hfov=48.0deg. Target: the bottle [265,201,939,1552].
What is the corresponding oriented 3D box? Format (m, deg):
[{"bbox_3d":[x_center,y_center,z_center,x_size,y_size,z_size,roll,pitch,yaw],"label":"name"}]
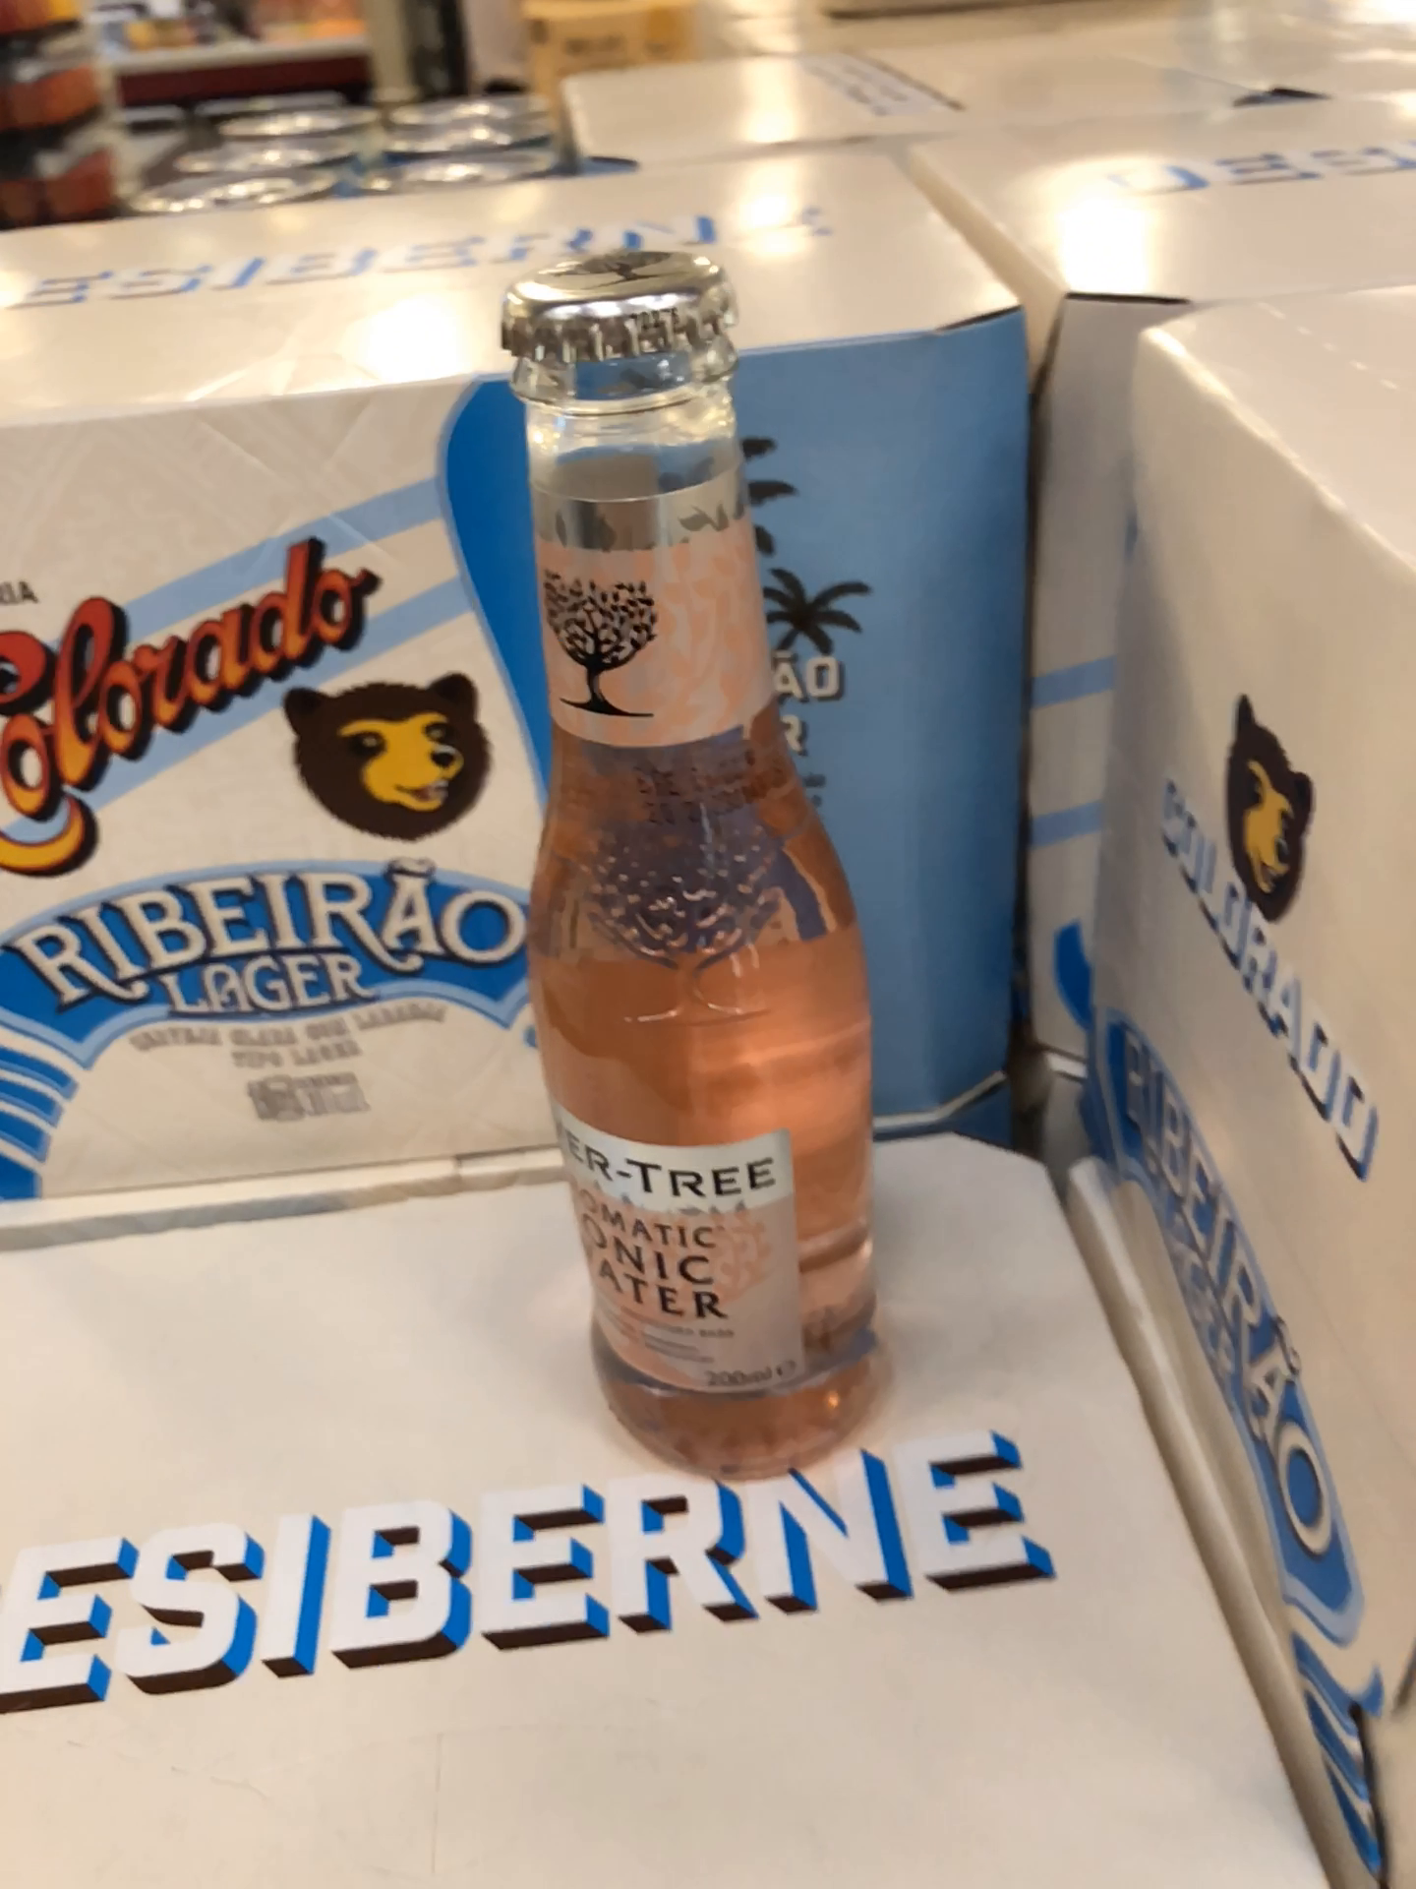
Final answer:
[{"bbox_3d":[-0.006,-0.002,0.236,0.060,0.188,0.050,20,41,32],"label":"bottle"}]
